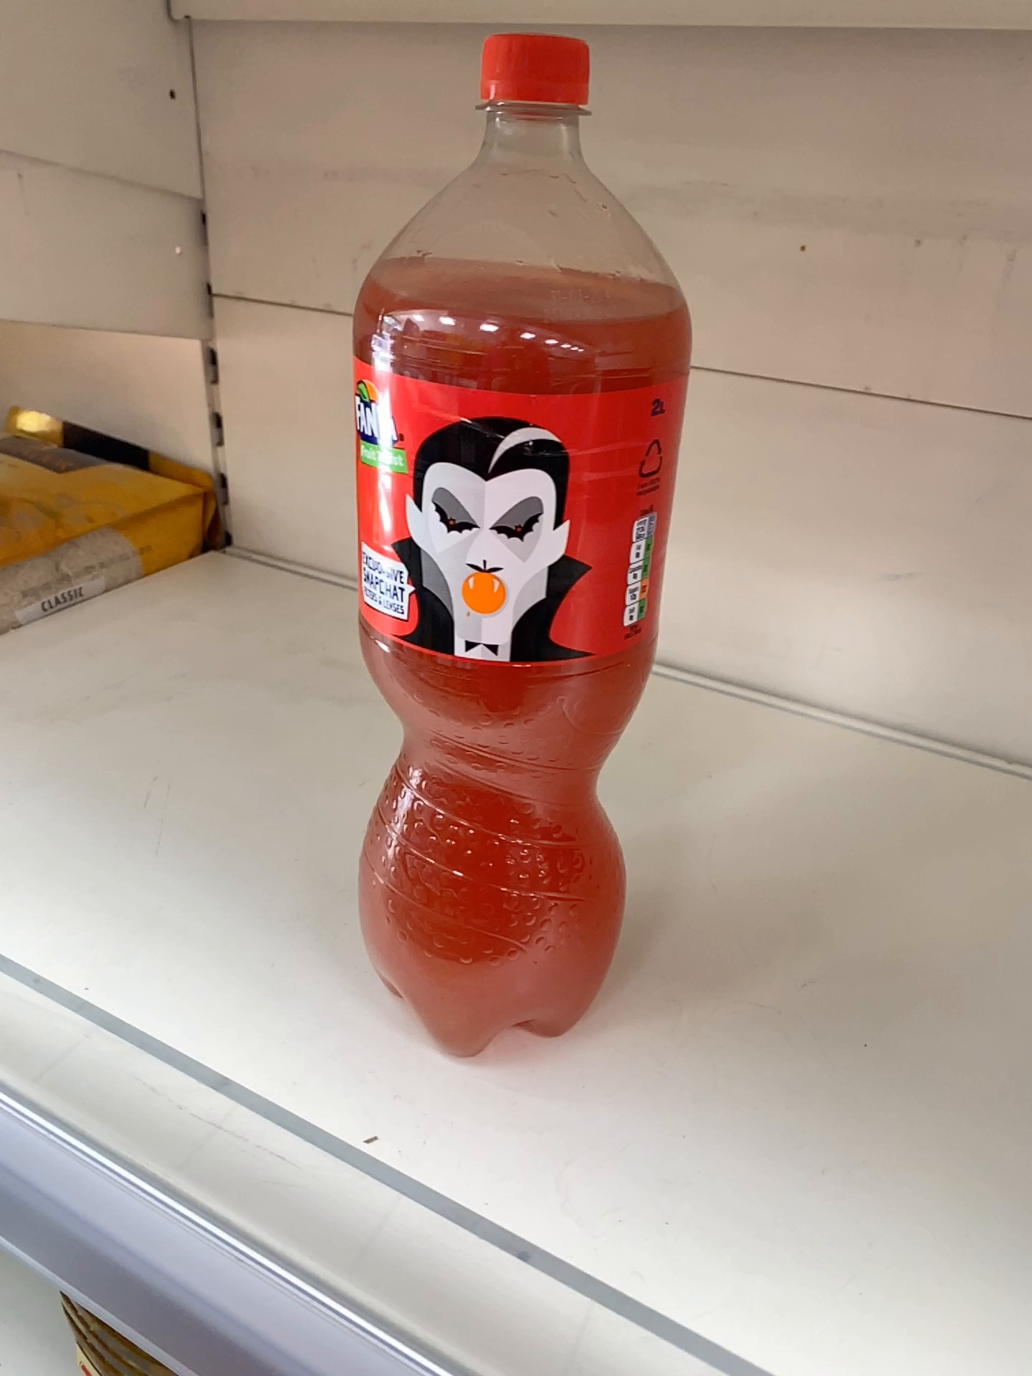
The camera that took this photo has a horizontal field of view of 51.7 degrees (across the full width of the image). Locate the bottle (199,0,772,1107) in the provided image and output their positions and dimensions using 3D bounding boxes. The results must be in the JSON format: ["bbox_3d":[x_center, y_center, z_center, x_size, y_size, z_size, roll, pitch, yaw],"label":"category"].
[{"bbox_3d":[-0.008,-0.036,0.359,0.120,0.327,0.111,2,27,-1],"label":"bottle"}]
